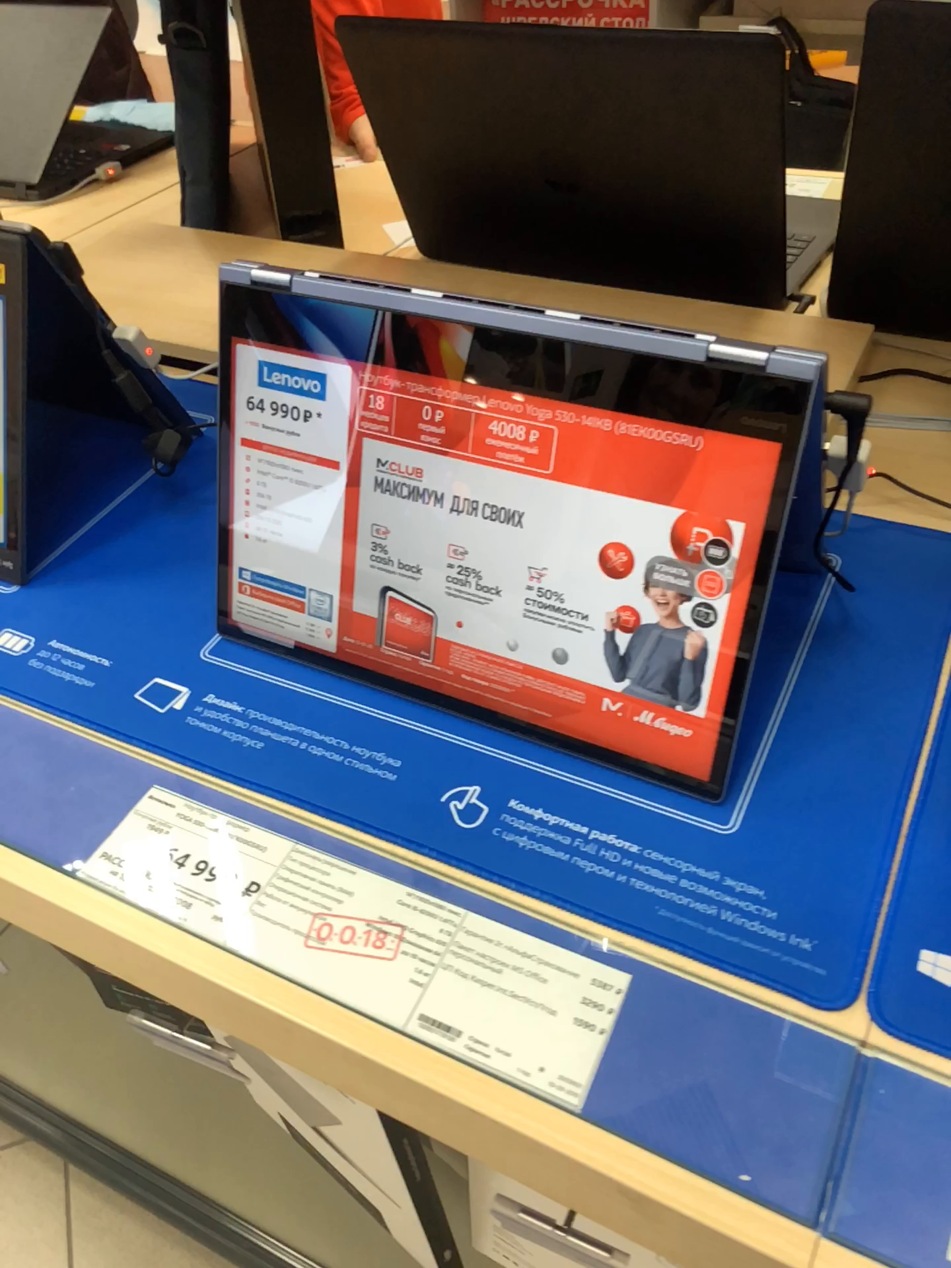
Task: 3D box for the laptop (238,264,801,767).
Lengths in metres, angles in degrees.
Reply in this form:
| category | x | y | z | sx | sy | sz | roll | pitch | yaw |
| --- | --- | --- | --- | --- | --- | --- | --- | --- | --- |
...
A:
| category | x | y | z | sx | sy | sz | roll | pitch | yaw |
| --- | --- | --- | --- | --- | --- | --- | --- | --- | --- |
| laptop | 0.051 | -0.049 | 0.700 | 0.306 | 0.157 | 0.221 | 15 | 9 | 20 |
